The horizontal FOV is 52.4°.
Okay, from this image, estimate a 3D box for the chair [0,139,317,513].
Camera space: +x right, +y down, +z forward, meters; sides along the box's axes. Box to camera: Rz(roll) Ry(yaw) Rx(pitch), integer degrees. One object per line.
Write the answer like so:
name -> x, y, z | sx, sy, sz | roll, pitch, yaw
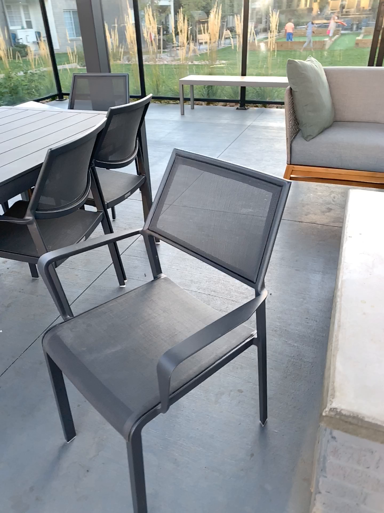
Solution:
chair -> -0.097, 0.189, 1.078 | 0.611, 0.806, 0.512 | -28, 39, -35
